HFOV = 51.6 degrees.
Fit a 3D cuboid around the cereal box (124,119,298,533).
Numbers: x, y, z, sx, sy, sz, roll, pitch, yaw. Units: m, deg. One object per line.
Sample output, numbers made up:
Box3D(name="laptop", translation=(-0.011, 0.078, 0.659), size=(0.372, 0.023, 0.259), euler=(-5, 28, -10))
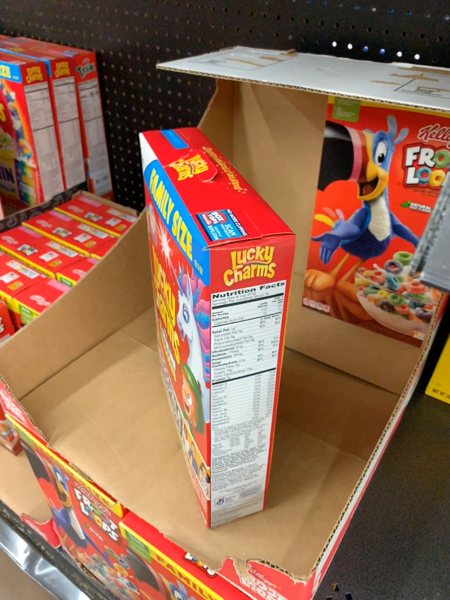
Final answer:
Box3D(name="cereal box", translation=(-0.027, 0.018, 0.422), size=(0.060, 0.289, 0.231), euler=(-11, 37, -16))
